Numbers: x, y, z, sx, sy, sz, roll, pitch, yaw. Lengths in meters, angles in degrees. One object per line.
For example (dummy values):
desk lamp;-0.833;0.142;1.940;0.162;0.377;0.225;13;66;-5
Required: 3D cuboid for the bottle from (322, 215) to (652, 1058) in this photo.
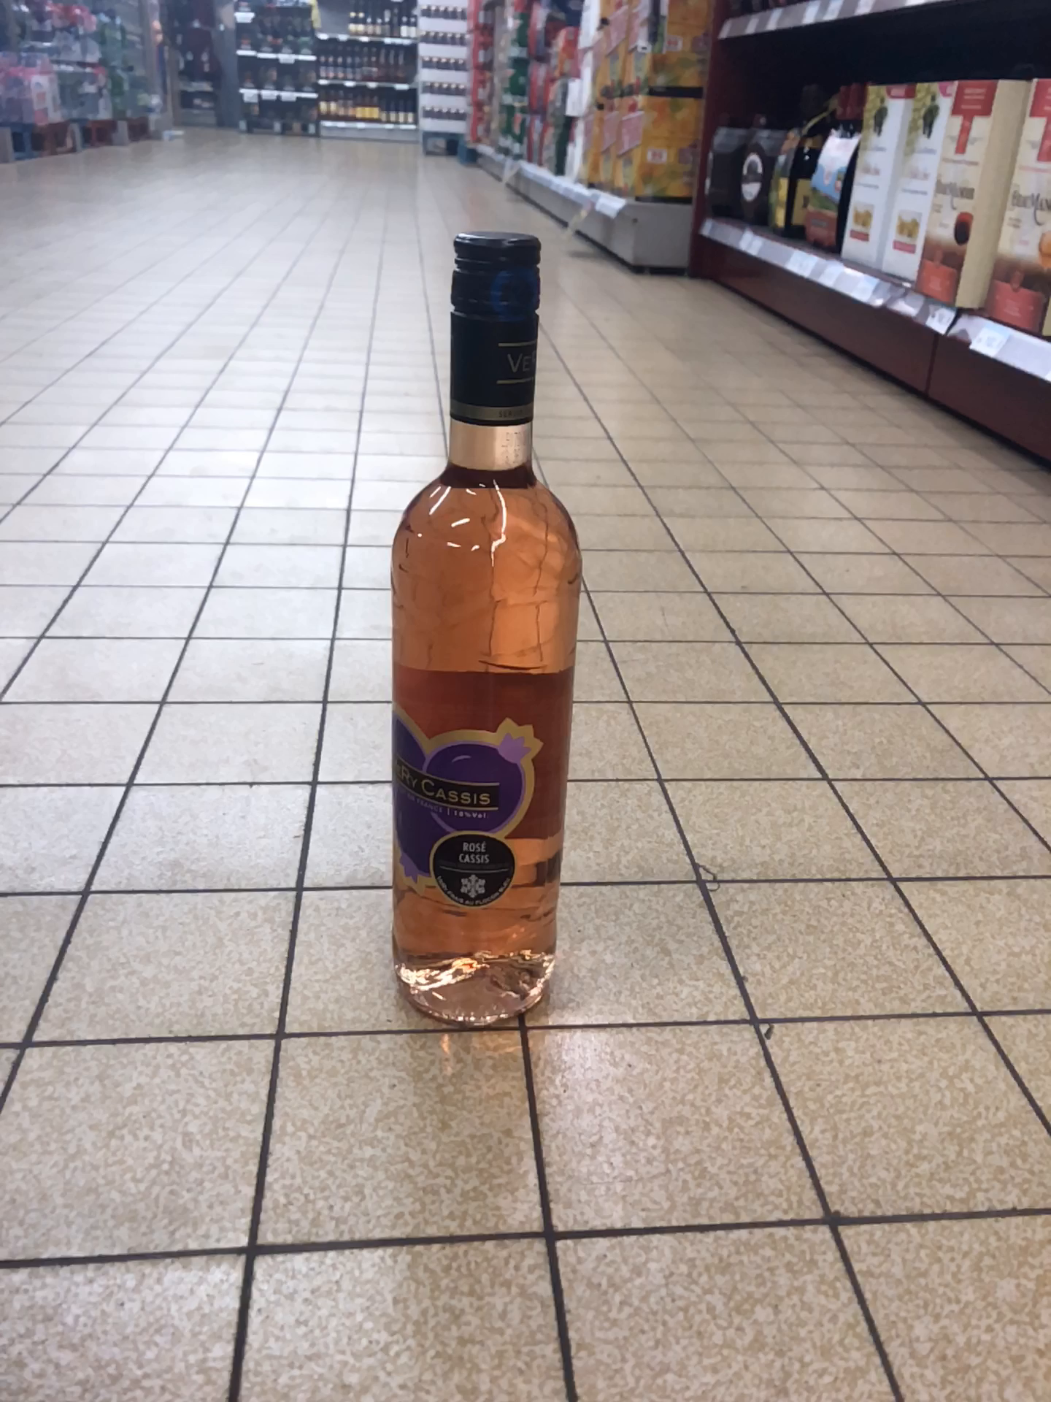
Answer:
bottle;-0.017;-0.018;0.437;0.080;0.298;0.081;3;26;-1
